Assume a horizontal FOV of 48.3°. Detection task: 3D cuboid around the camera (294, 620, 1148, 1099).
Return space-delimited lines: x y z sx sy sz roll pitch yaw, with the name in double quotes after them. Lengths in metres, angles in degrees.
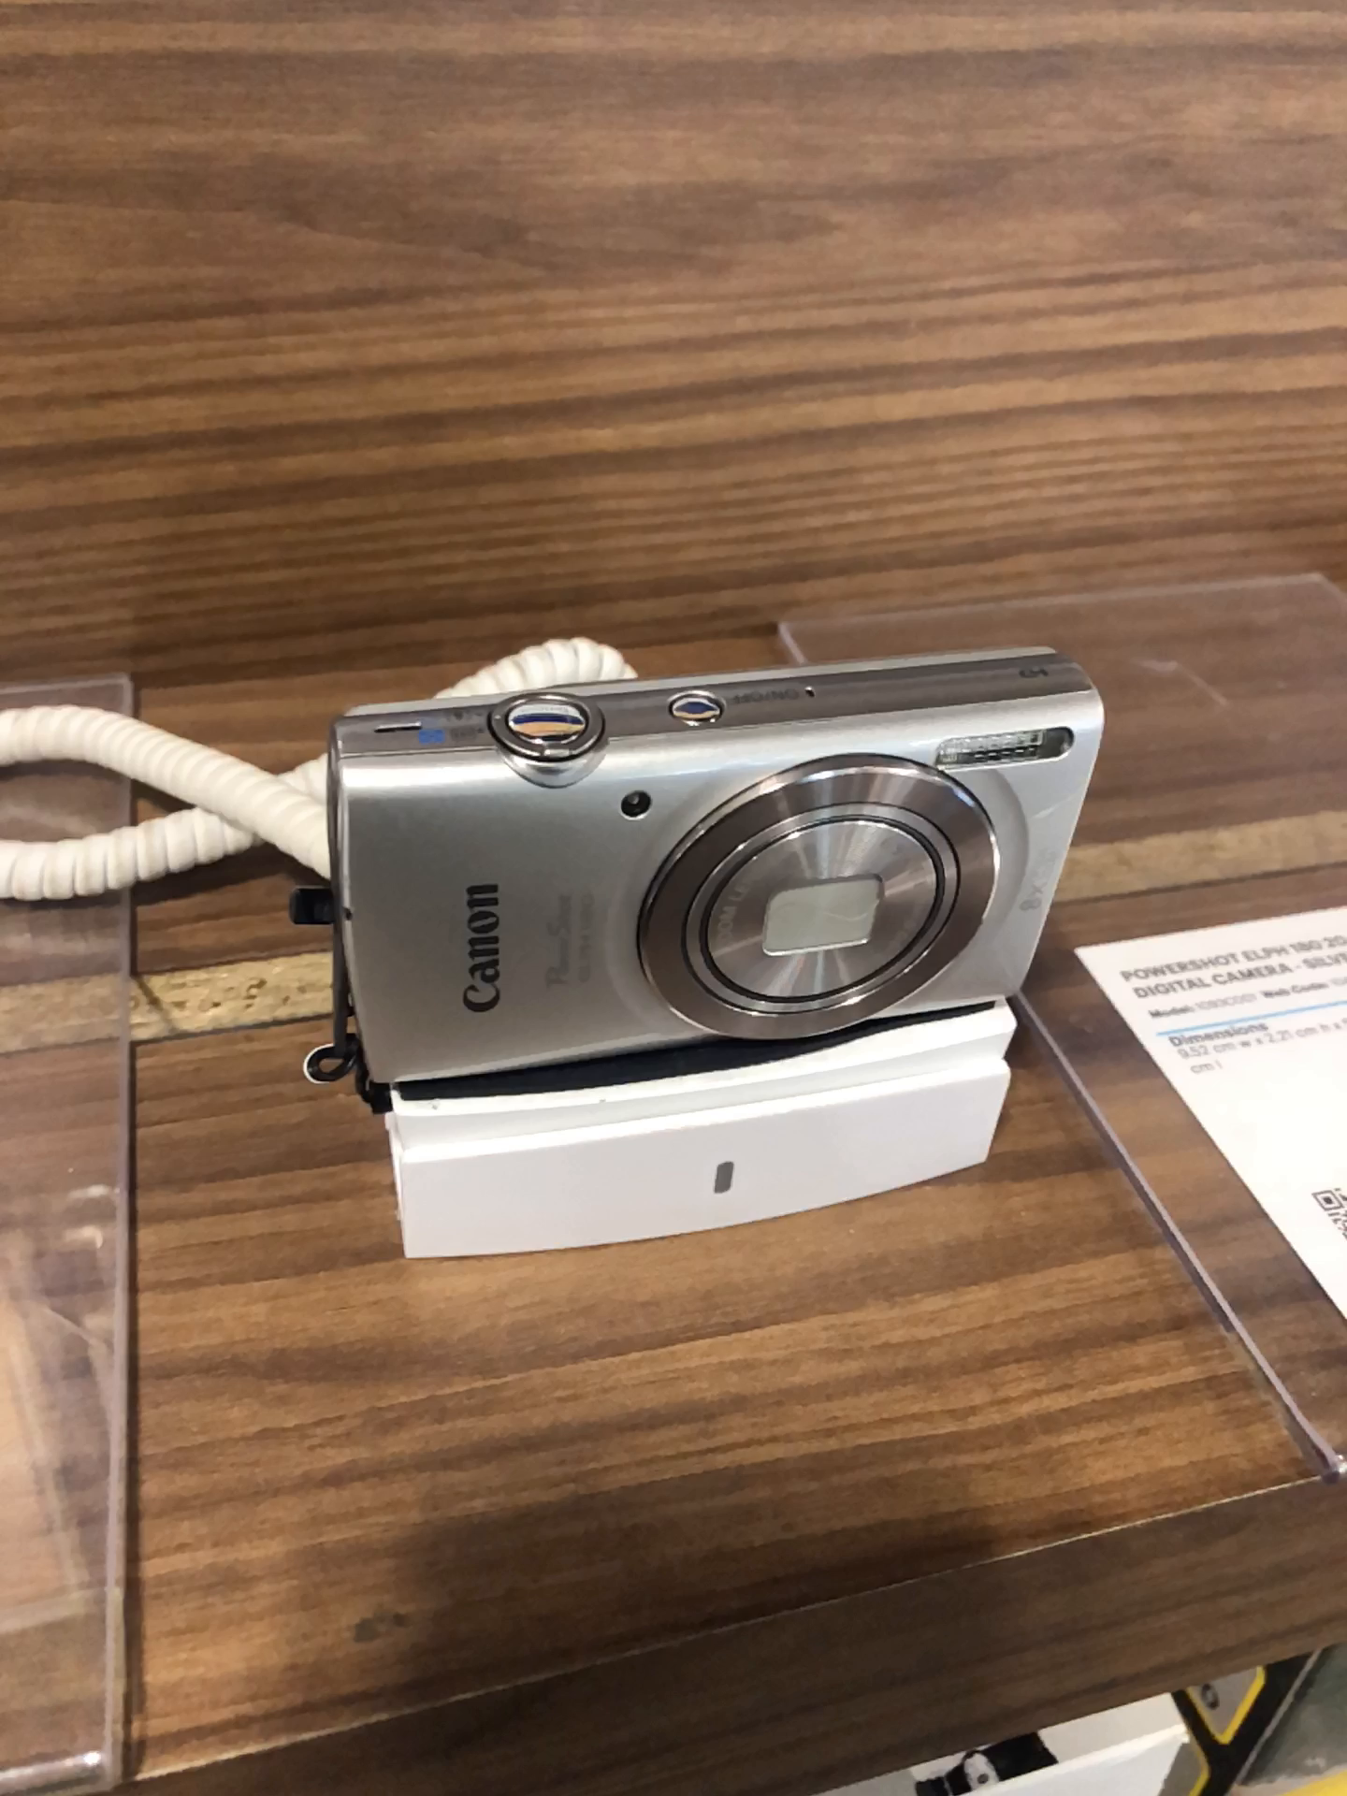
0.005 -0.005 0.195 0.100 0.050 0.020 -7 42 -13 "camera"
